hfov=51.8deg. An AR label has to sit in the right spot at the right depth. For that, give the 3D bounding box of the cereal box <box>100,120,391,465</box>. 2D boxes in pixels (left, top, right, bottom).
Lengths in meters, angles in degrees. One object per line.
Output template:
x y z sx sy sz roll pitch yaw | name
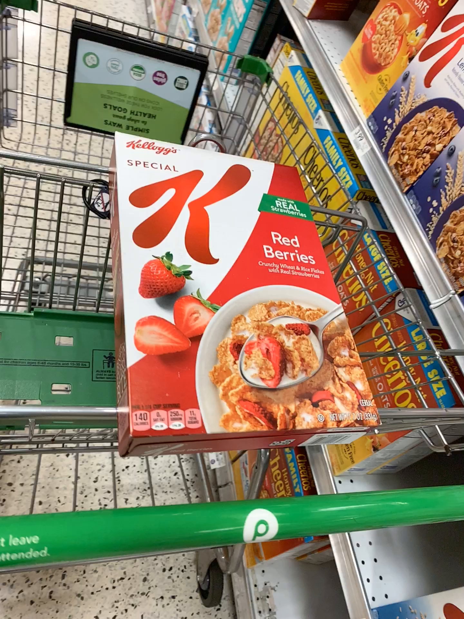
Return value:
-0.006 -0.027 0.419 0.201 0.059 0.292 3 56 -23 | cereal box
